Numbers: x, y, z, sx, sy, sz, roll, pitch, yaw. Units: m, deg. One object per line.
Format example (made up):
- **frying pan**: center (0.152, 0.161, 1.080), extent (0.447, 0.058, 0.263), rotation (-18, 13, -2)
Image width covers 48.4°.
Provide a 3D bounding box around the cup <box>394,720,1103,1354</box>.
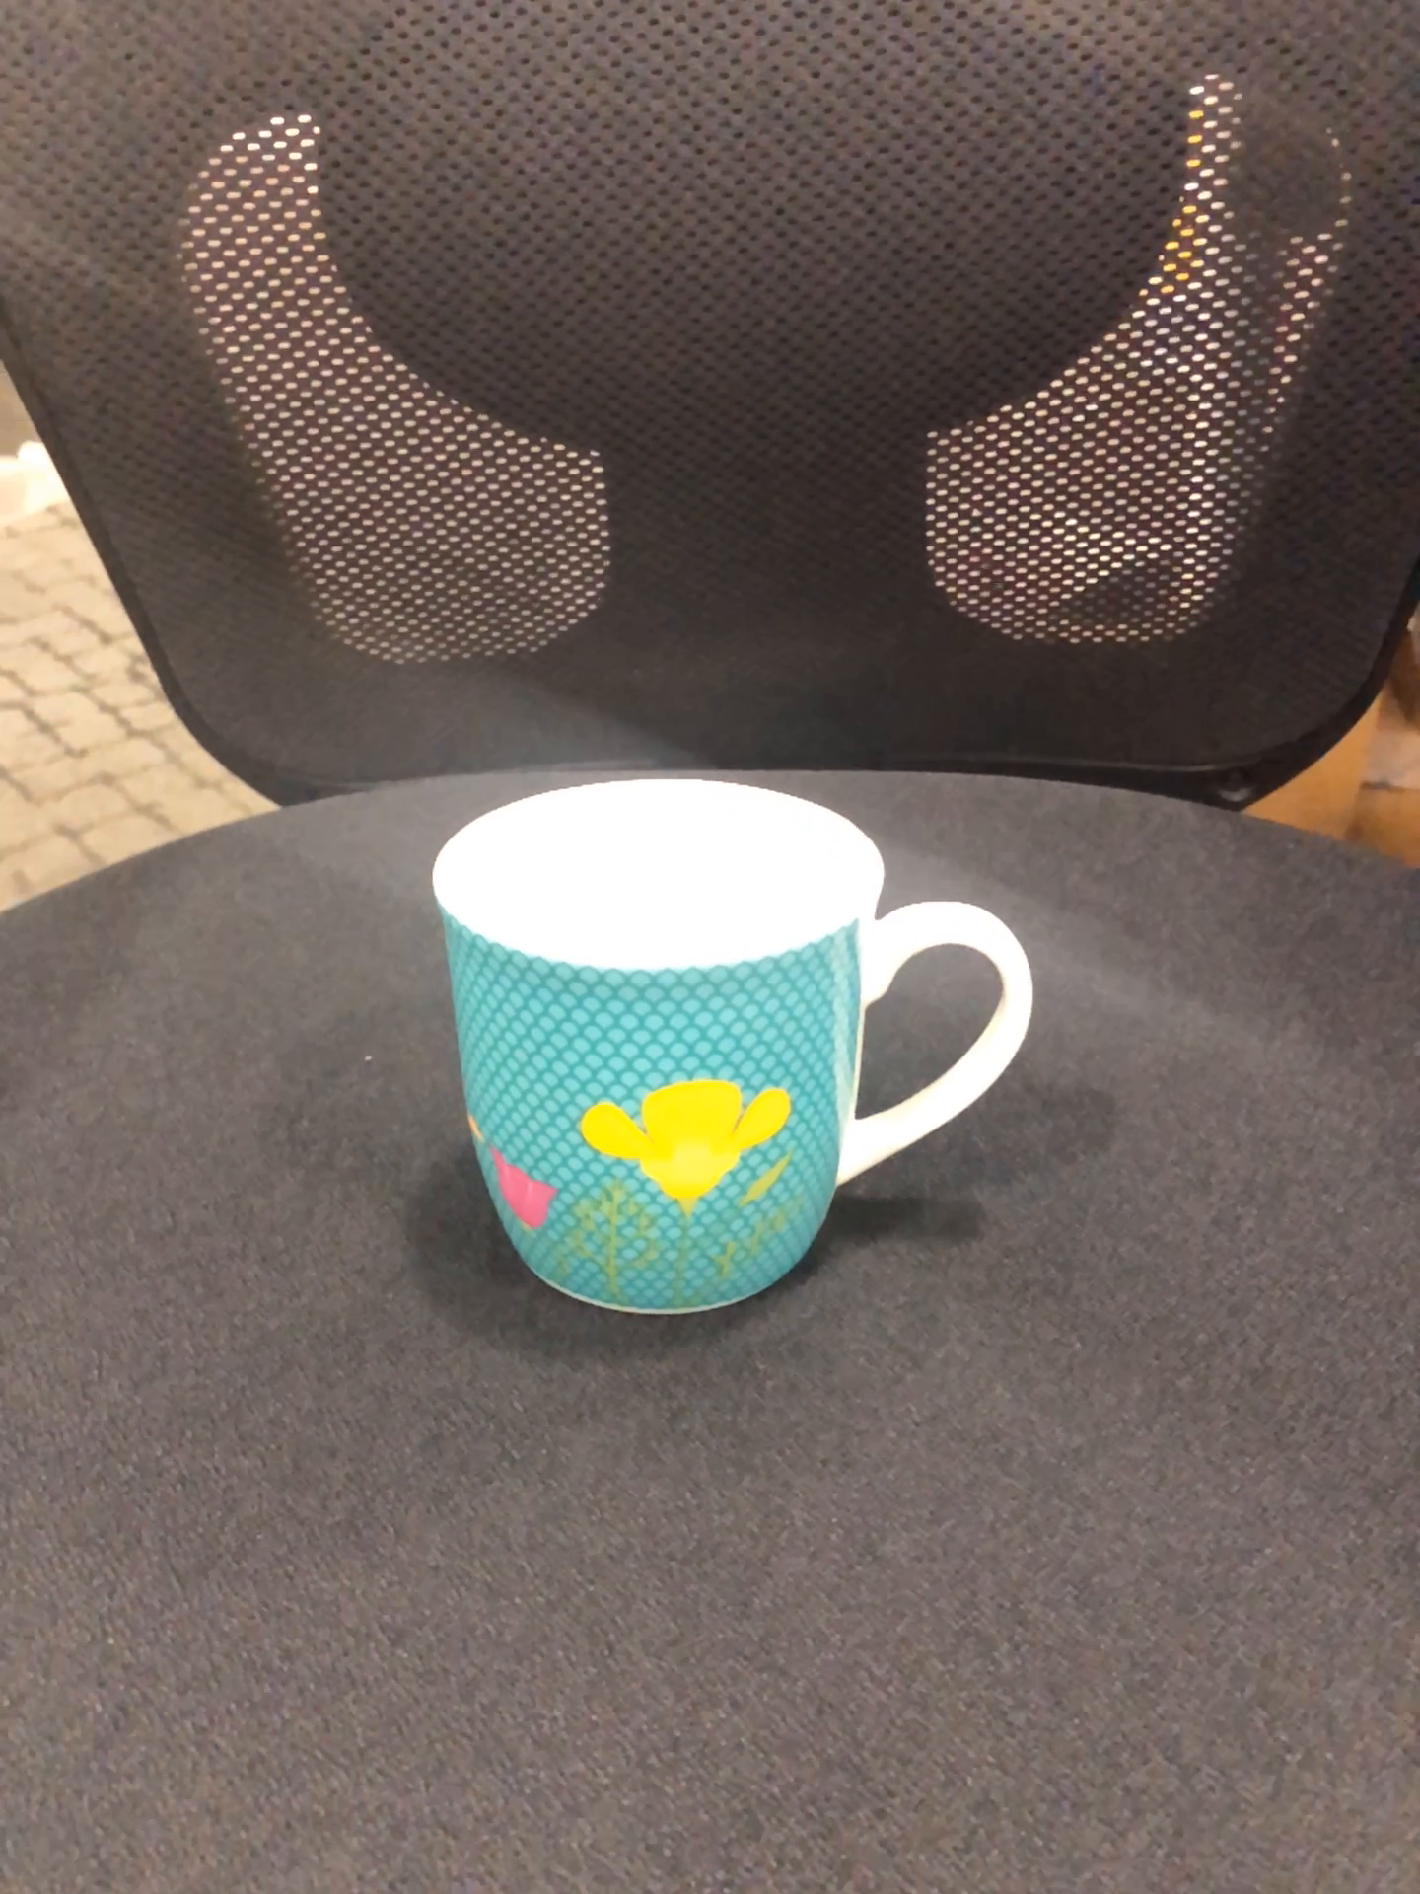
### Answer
- **cup**: center (0.002, 0.013, 0.292), extent (0.110, 0.080, 0.070), rotation (-6, 33, -8)
